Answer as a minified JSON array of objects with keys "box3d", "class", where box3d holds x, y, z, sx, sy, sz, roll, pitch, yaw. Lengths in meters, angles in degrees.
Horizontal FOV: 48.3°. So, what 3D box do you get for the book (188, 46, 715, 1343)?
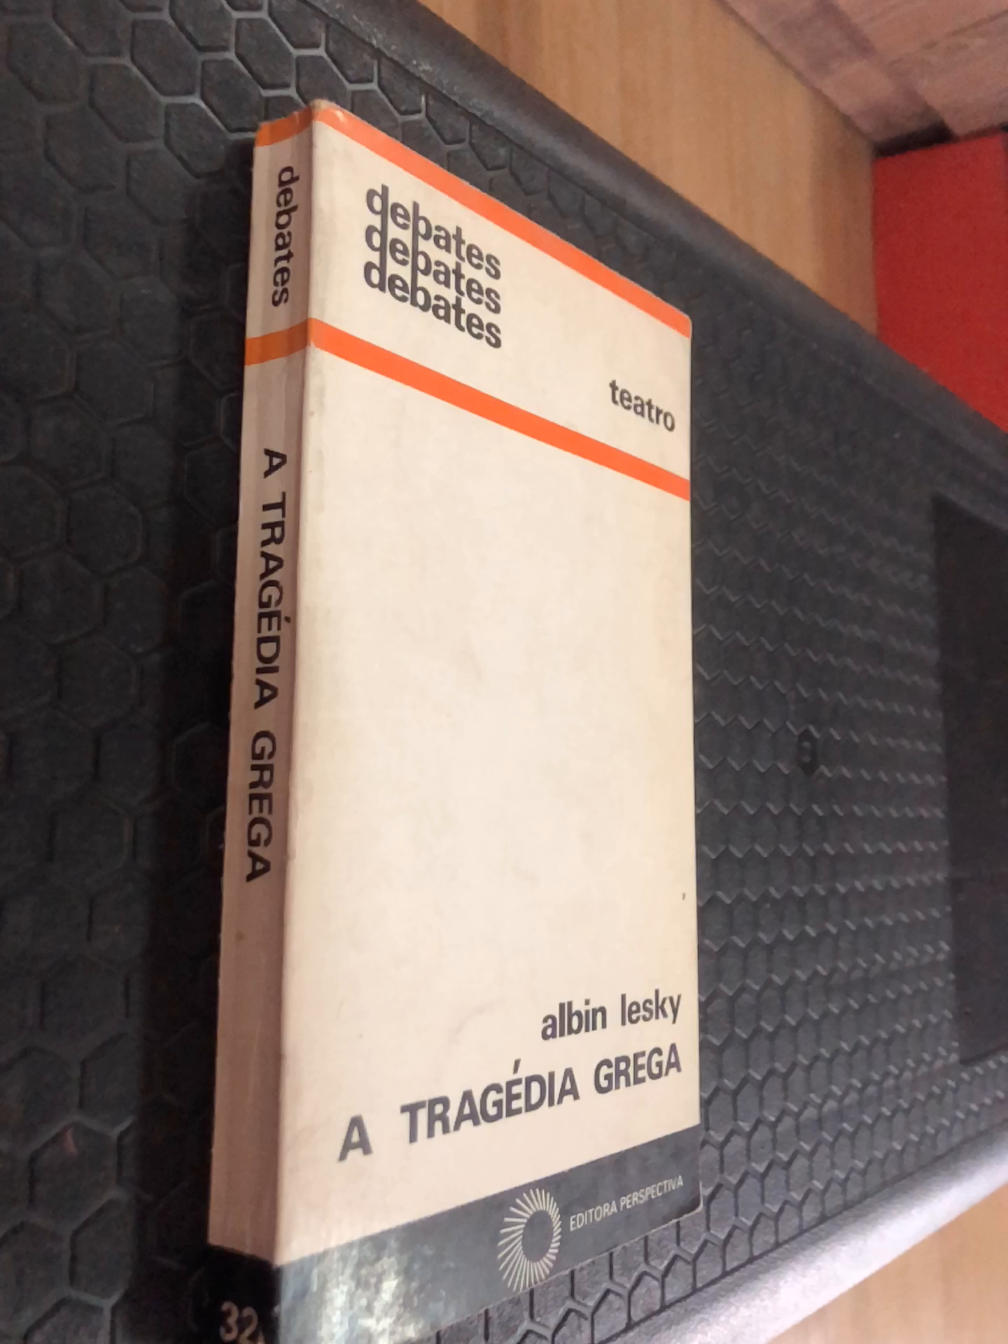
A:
[{"box3d":[0.000,0.008,0.217,0.115,0.020,0.207,9,78,-47],"class":"book"}]
